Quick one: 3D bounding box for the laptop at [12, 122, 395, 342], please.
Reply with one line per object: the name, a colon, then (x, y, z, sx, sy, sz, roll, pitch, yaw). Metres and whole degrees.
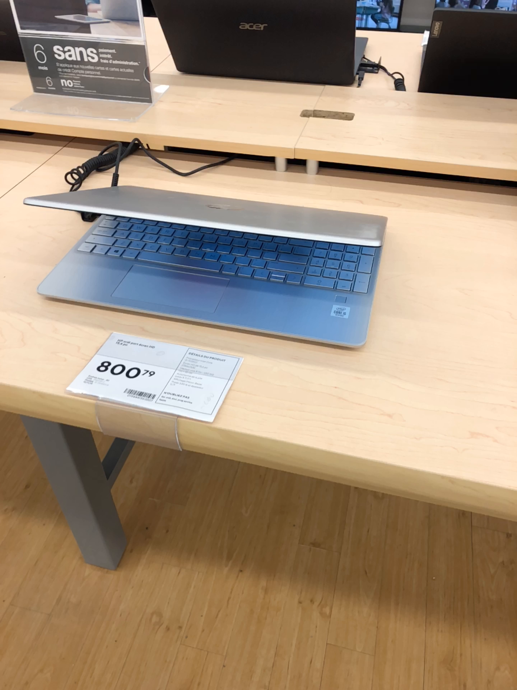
laptop: (-0.040, -0.138, 0.618, 0.340, 0.086, 0.224, 10, 45, 11)
